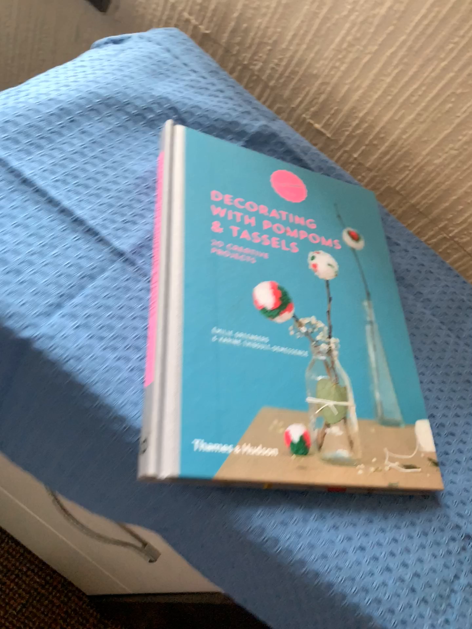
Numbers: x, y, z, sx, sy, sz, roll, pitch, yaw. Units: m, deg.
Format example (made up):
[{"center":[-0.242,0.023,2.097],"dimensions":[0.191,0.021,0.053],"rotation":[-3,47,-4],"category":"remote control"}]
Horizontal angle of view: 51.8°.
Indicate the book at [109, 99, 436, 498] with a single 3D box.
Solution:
[{"center":[0.024,-0.016,0.318],"dimensions":[0.190,0.020,0.251],"rotation":[11,58,-25],"category":"book"}]
